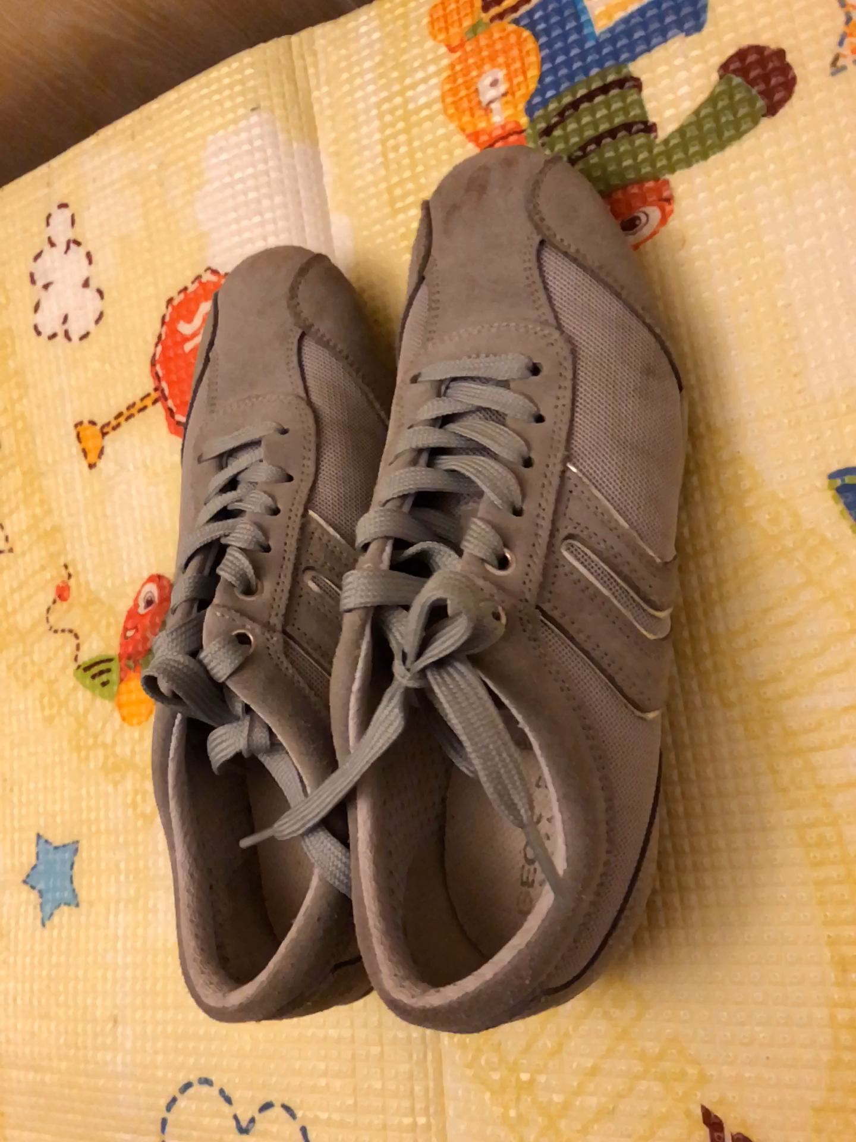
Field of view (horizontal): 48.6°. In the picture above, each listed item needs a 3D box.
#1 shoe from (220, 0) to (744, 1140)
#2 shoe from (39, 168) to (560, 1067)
[{"bbox_3d":[0.022,-0.005,0.256,0.090,0.120,0.230,-3,83,30],"label":"shoe"},{"bbox_3d":[-0.040,0.016,0.312,0.090,0.120,0.230,-14,78,29],"label":"shoe"}]
